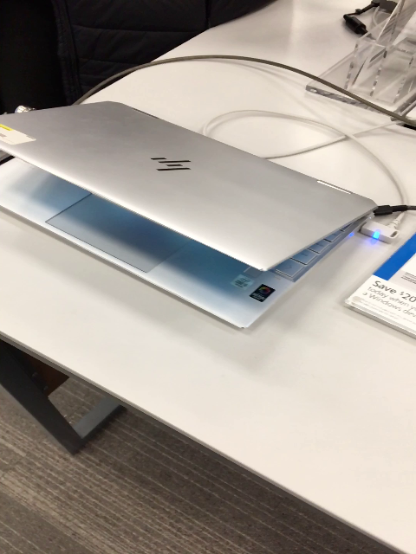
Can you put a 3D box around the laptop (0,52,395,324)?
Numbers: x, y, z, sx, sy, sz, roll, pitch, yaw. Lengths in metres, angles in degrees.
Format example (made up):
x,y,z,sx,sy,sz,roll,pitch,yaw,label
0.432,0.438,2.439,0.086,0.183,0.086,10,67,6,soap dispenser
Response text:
x,y,z,sx,sy,sz,roll,pitch,yaw,label
-0.042,-0.097,0.496,0.308,0.079,0.188,30,57,24,laptop
